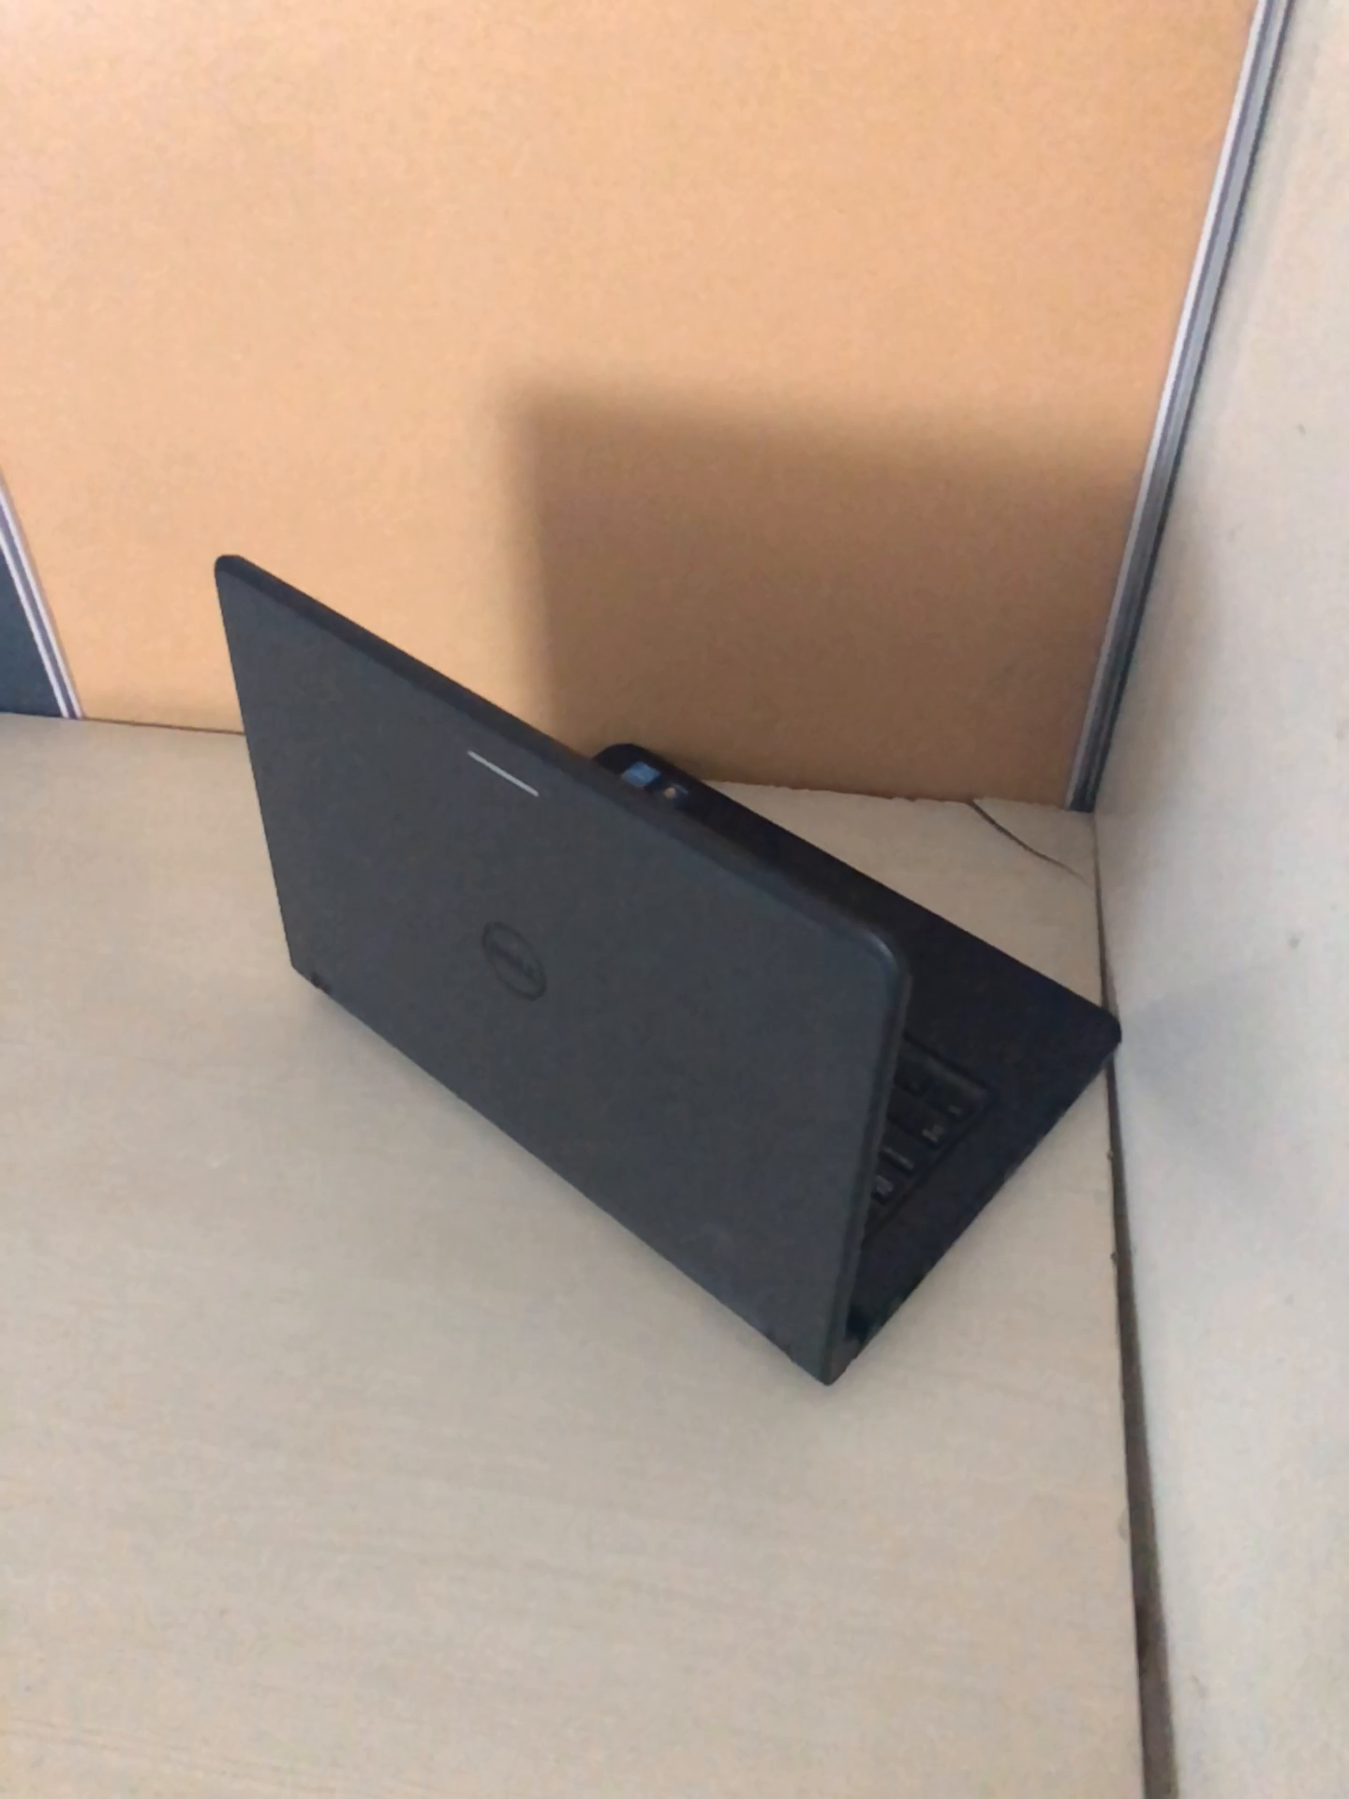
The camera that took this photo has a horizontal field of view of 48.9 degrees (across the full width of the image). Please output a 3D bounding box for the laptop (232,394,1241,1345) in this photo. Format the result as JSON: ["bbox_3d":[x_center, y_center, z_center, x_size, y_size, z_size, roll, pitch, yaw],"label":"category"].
[{"bbox_3d":[0.018,-0.030,0.623,0.305,0.211,0.215,33,53,29],"label":"laptop"}]
